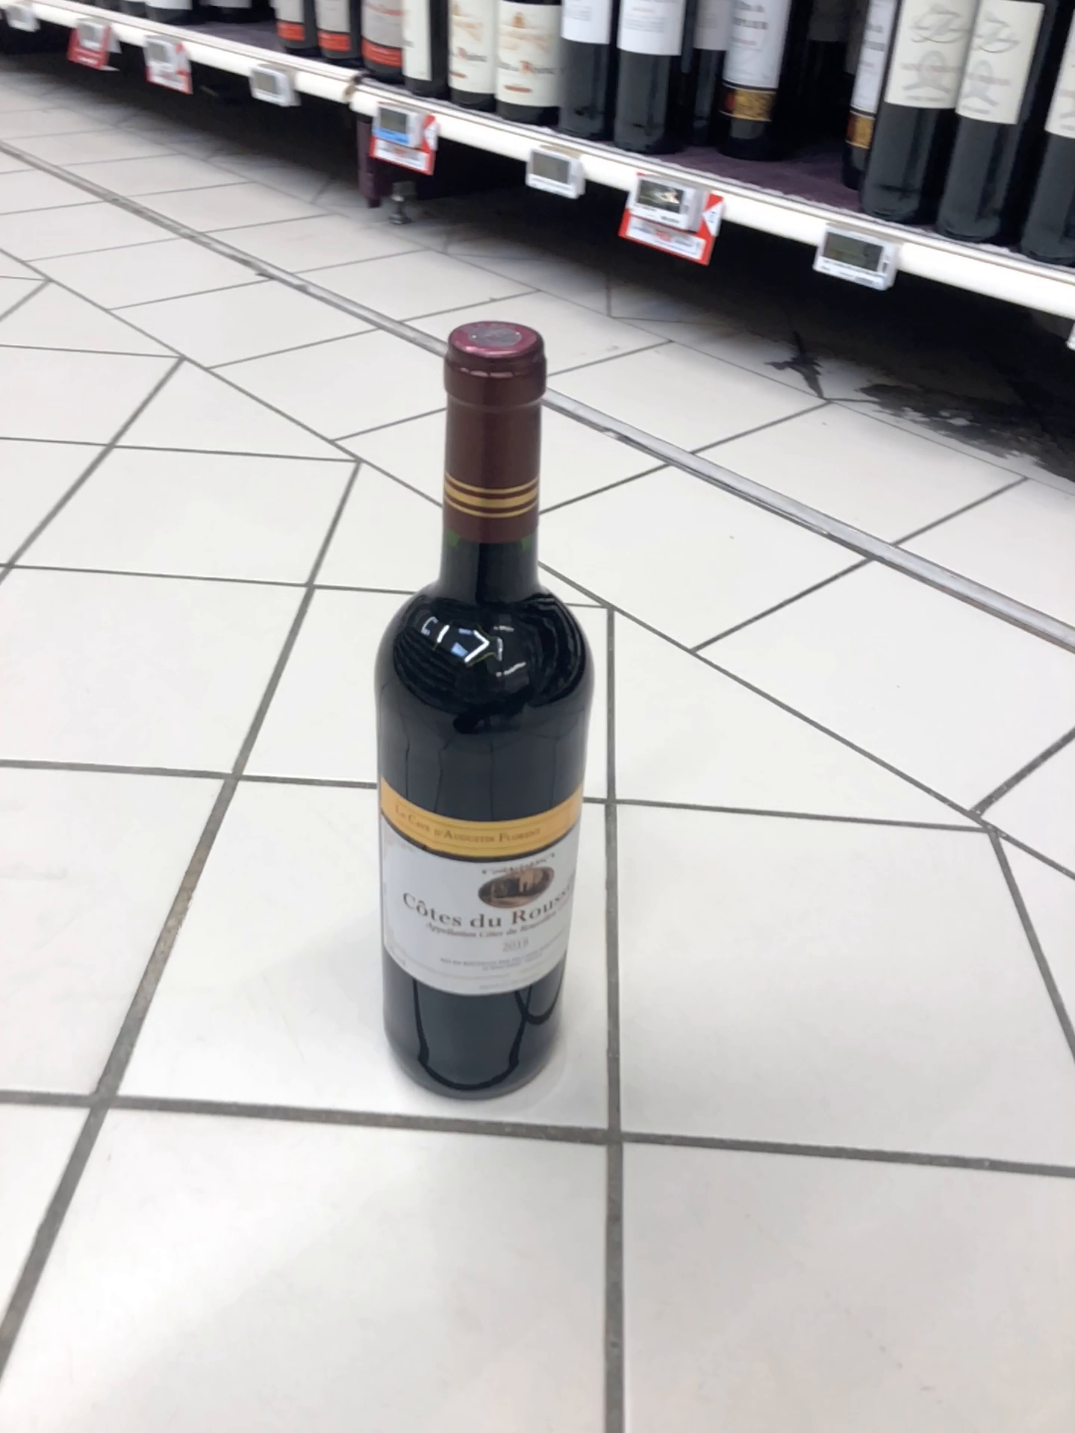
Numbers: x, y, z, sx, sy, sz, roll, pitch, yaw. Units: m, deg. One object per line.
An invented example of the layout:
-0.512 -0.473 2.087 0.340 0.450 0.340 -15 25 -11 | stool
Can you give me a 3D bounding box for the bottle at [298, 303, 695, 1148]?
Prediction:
-0.023 0.016 0.414 0.090 0.288 0.090 2 36 -2 | bottle
